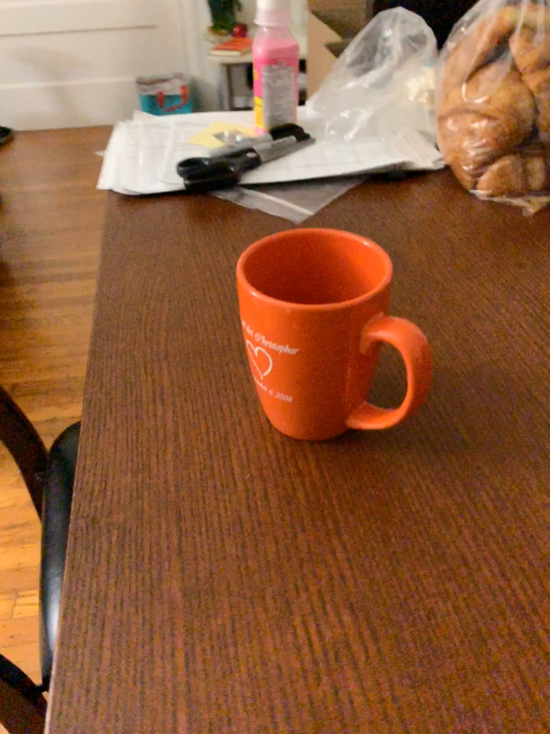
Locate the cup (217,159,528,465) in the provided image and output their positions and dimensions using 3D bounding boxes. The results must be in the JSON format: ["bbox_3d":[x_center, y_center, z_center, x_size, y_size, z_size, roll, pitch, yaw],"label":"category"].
[{"bbox_3d":[0.052,-0.040,0.335,0.131,0.109,0.100,27,48,30],"label":"cup"}]
